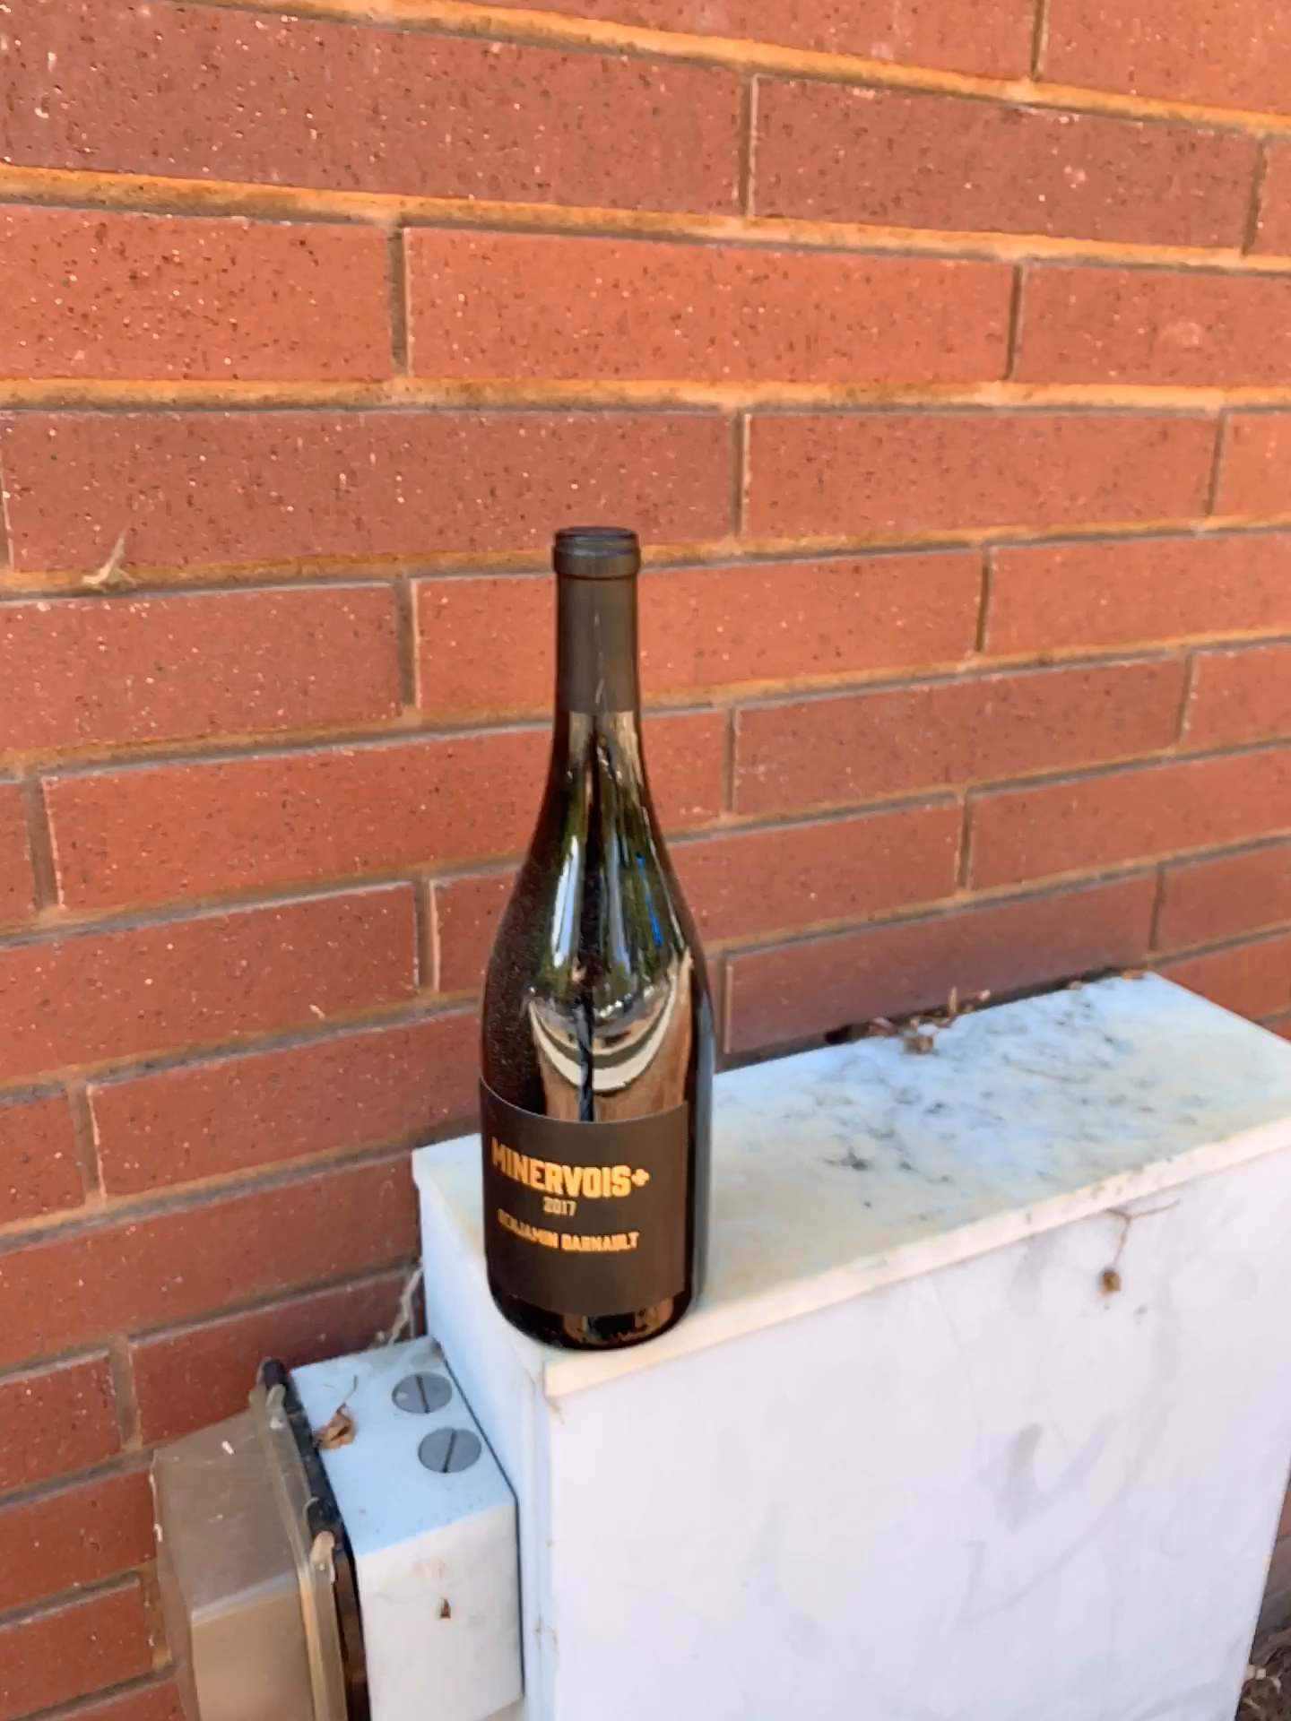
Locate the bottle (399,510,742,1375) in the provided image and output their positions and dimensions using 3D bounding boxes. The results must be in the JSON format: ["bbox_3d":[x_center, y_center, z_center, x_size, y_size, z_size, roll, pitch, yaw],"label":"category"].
[{"bbox_3d":[-0.022,0.029,0.481,0.090,0.289,0.090,1,20,0],"label":"bottle"}]
